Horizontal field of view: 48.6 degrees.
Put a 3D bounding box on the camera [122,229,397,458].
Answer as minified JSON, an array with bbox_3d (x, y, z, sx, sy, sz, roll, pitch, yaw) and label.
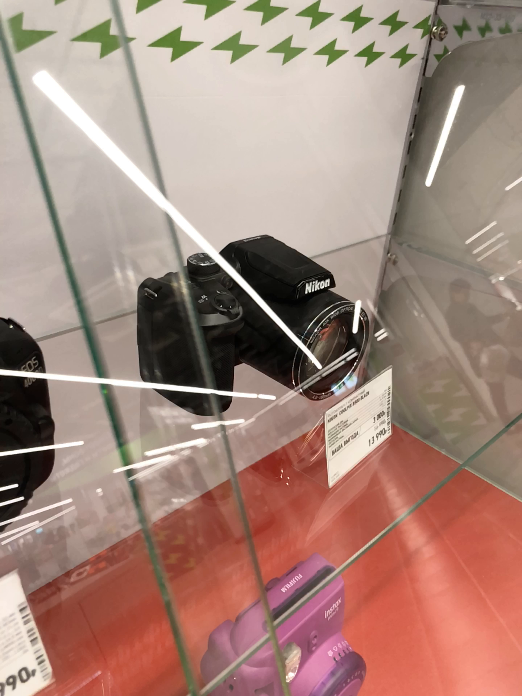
[{"bbox_3d":[-0.003,-0.012,0.336,0.115,0.070,0.100,-21,39,-39],"label":"camera"}]
